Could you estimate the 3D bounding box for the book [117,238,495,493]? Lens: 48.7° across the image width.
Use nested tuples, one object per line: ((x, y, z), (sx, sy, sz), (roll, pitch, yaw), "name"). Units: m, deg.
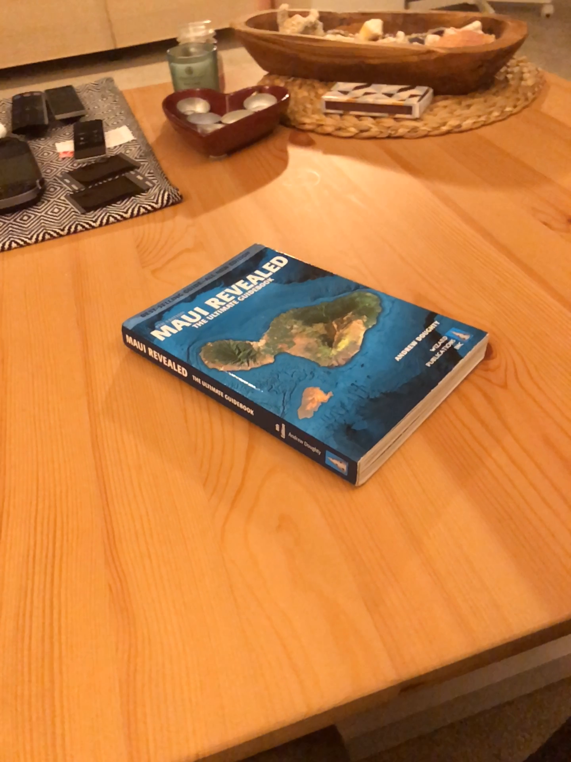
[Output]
((0.011, -0.027, 0.418), (0.200, 0.020, 0.146), (29, 50, 30), "book")
